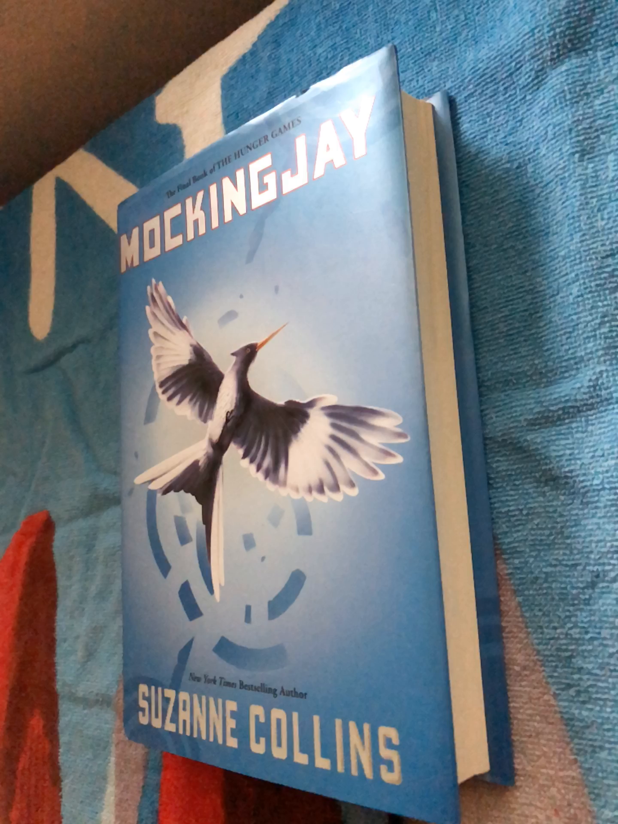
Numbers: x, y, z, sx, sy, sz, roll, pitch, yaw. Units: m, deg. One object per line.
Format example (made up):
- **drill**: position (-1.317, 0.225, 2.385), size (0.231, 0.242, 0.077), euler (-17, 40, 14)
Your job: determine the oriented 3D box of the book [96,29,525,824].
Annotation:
- **book**: position (-0.015, 0.008, 0.227), size (0.141, 0.040, 0.200), euler (-12, 77, 41)
